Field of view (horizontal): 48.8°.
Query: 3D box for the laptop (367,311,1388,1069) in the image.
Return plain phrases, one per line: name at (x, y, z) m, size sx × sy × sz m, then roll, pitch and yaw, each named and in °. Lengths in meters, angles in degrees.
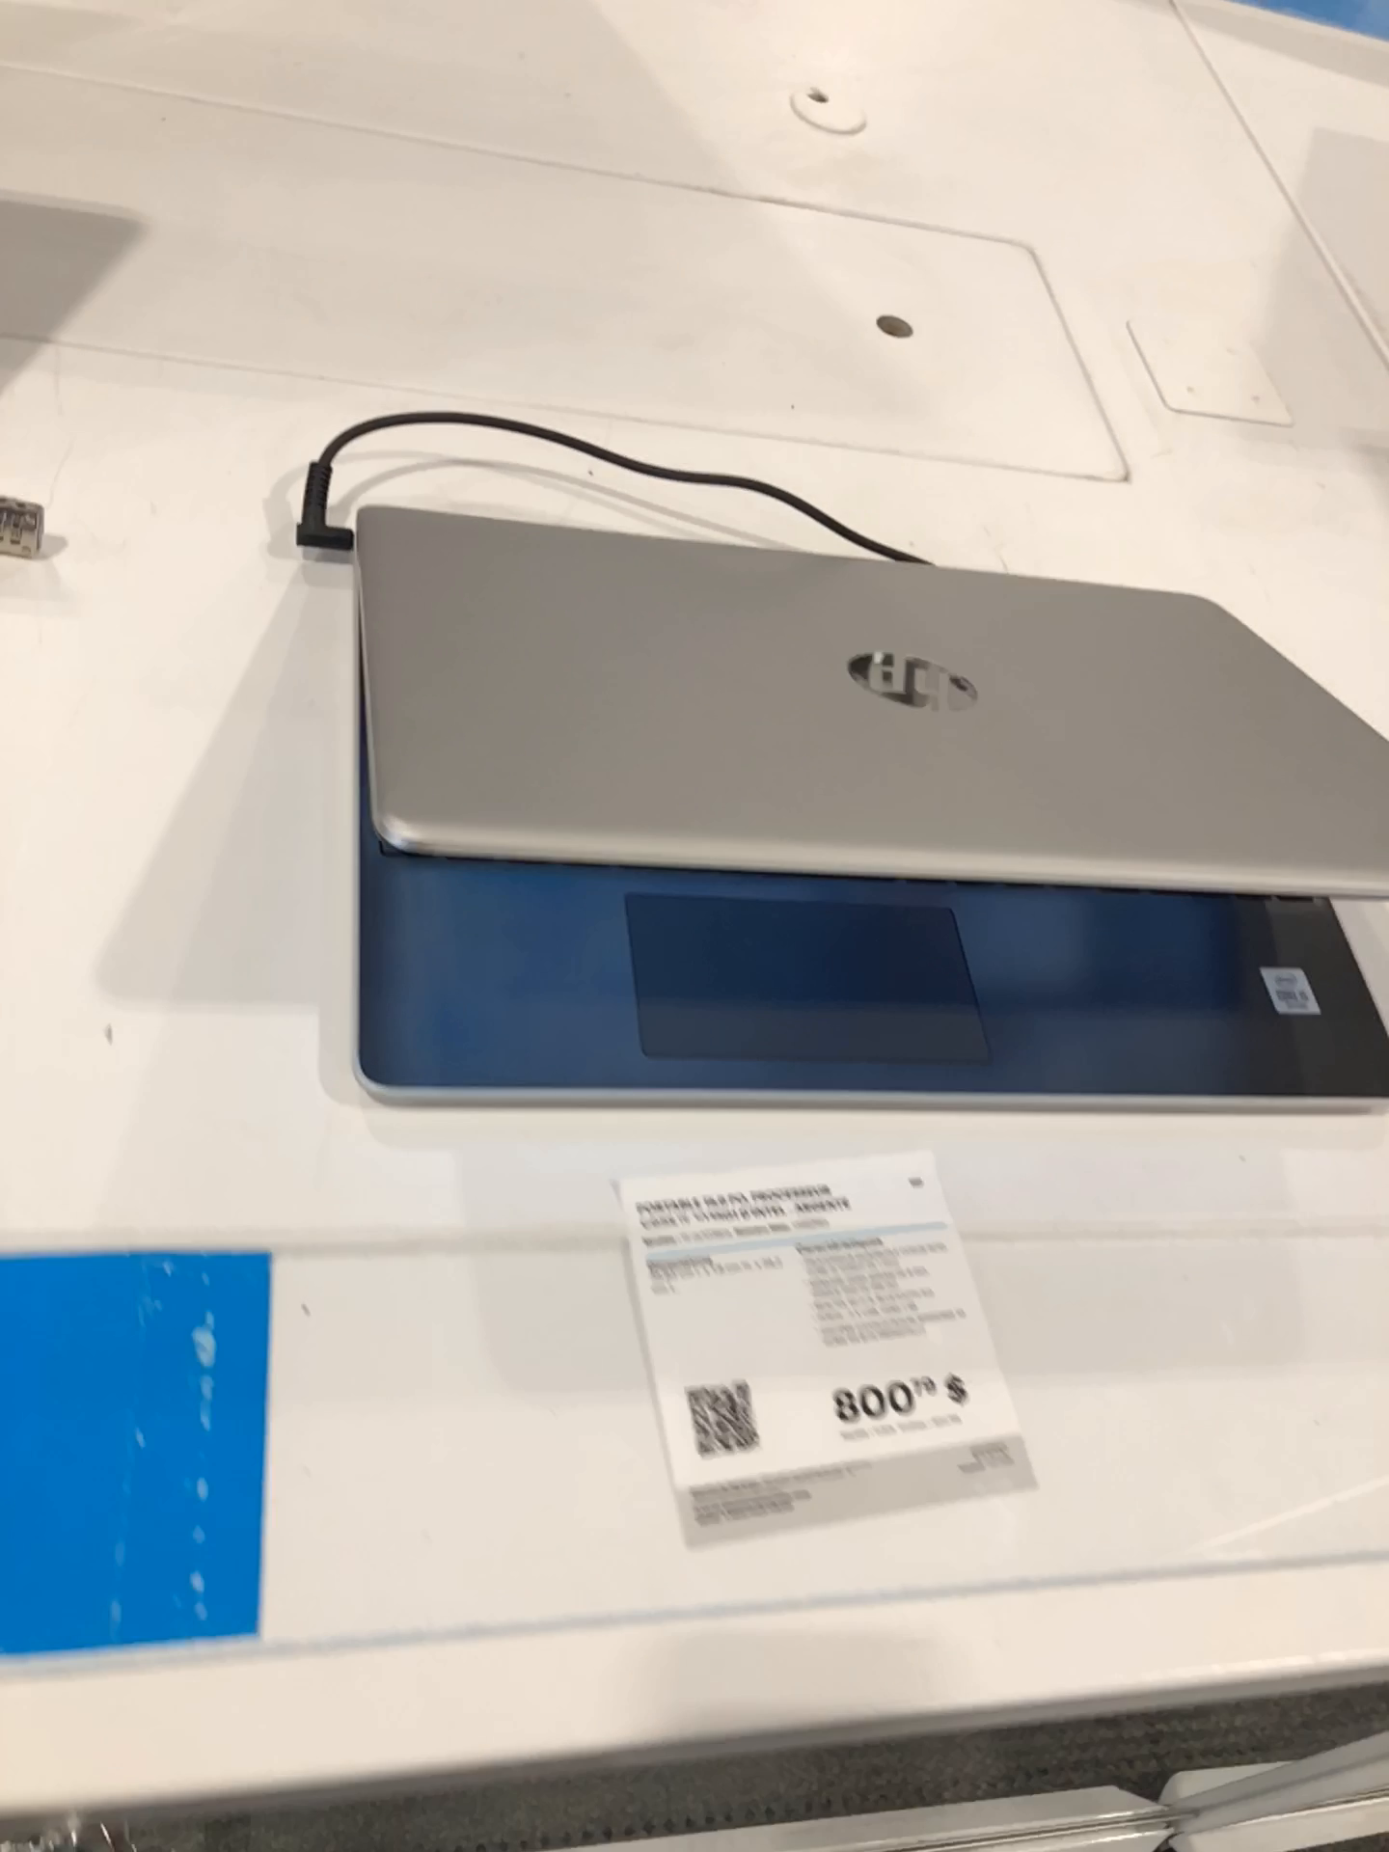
laptop at (0.071, -0.076, 0.507) m, size 0.342 × 0.086 × 0.229 m, roll 2°, pitch 54°, yaw -14°
